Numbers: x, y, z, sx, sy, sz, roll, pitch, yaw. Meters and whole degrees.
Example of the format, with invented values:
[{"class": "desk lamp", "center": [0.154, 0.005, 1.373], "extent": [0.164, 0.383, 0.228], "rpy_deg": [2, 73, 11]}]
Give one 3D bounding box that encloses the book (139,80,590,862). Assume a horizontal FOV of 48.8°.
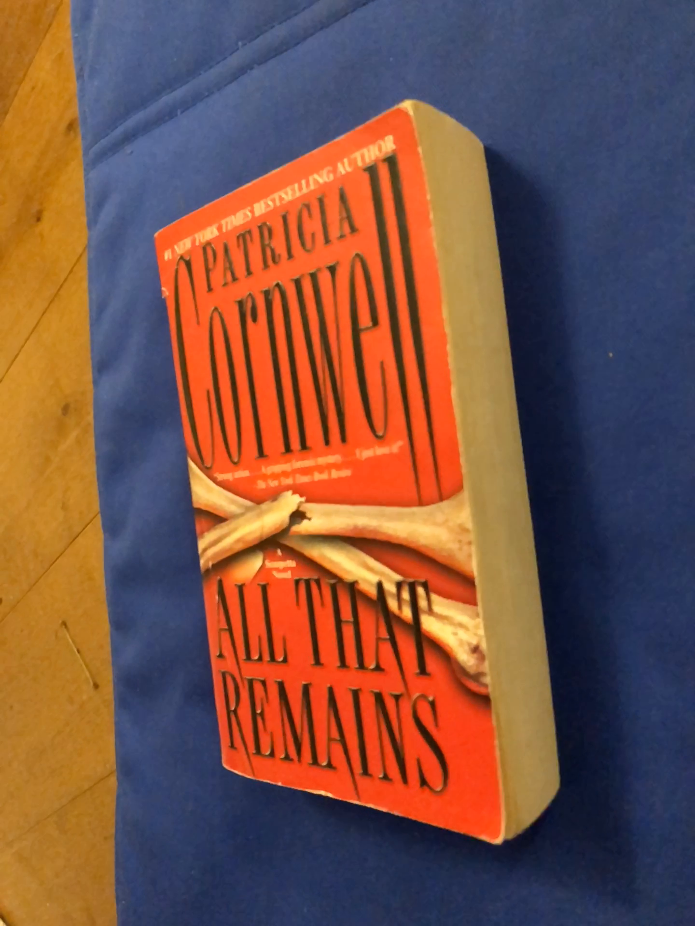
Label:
[{"class": "book", "center": [-0.003, 0.005, 0.208], "extent": [0.110, 0.030, 0.166], "rpy_deg": [-8, 88, 40]}]
